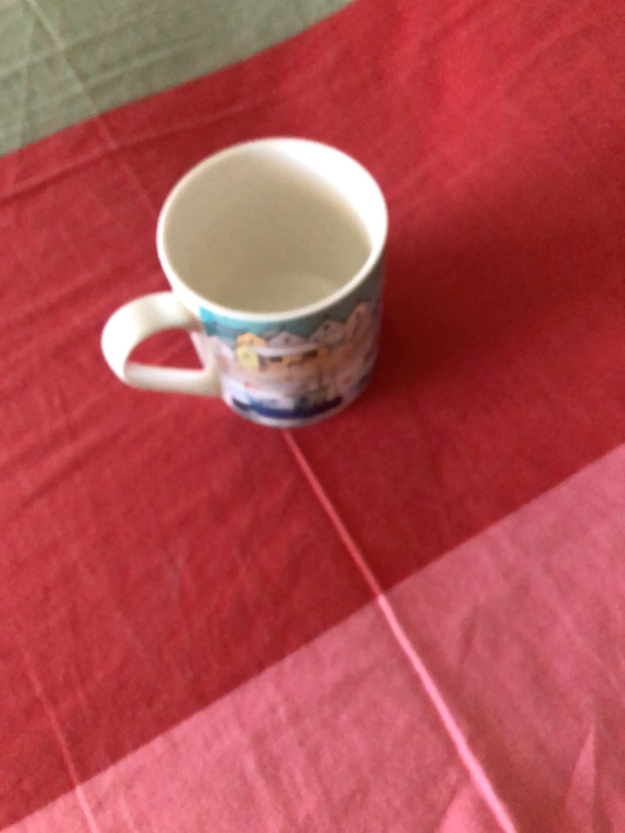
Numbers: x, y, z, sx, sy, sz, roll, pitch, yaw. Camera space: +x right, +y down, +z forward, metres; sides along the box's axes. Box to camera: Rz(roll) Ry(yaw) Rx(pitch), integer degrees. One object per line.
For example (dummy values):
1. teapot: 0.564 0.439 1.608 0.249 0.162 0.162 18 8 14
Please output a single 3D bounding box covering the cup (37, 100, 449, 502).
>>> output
1. cup: -0.025 -0.045 0.290 0.120 0.080 0.094 -27 66 -9
